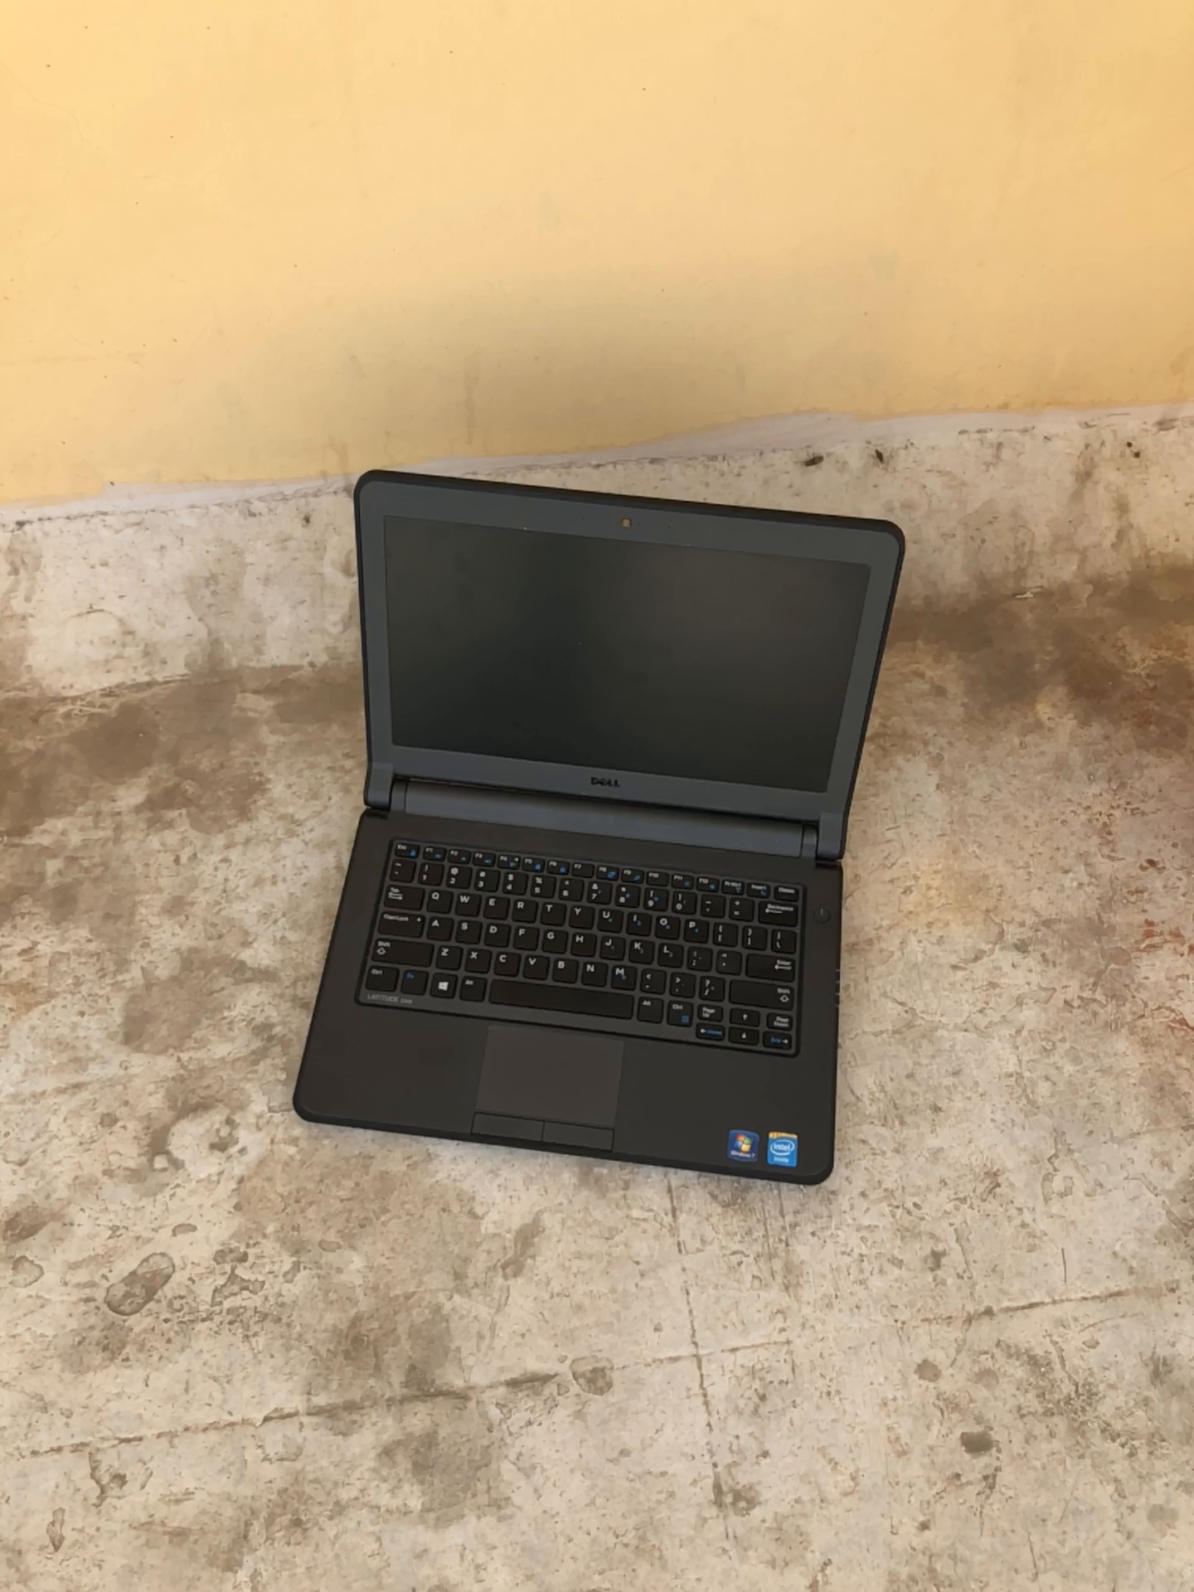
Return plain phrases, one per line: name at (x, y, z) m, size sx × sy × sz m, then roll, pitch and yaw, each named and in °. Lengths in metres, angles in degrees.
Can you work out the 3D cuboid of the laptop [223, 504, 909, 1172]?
laptop at (0.002, 0.023, 0.757) m, size 0.308 × 0.208 × 0.300 m, roll 6°, pitch 57°, yaw 4°
